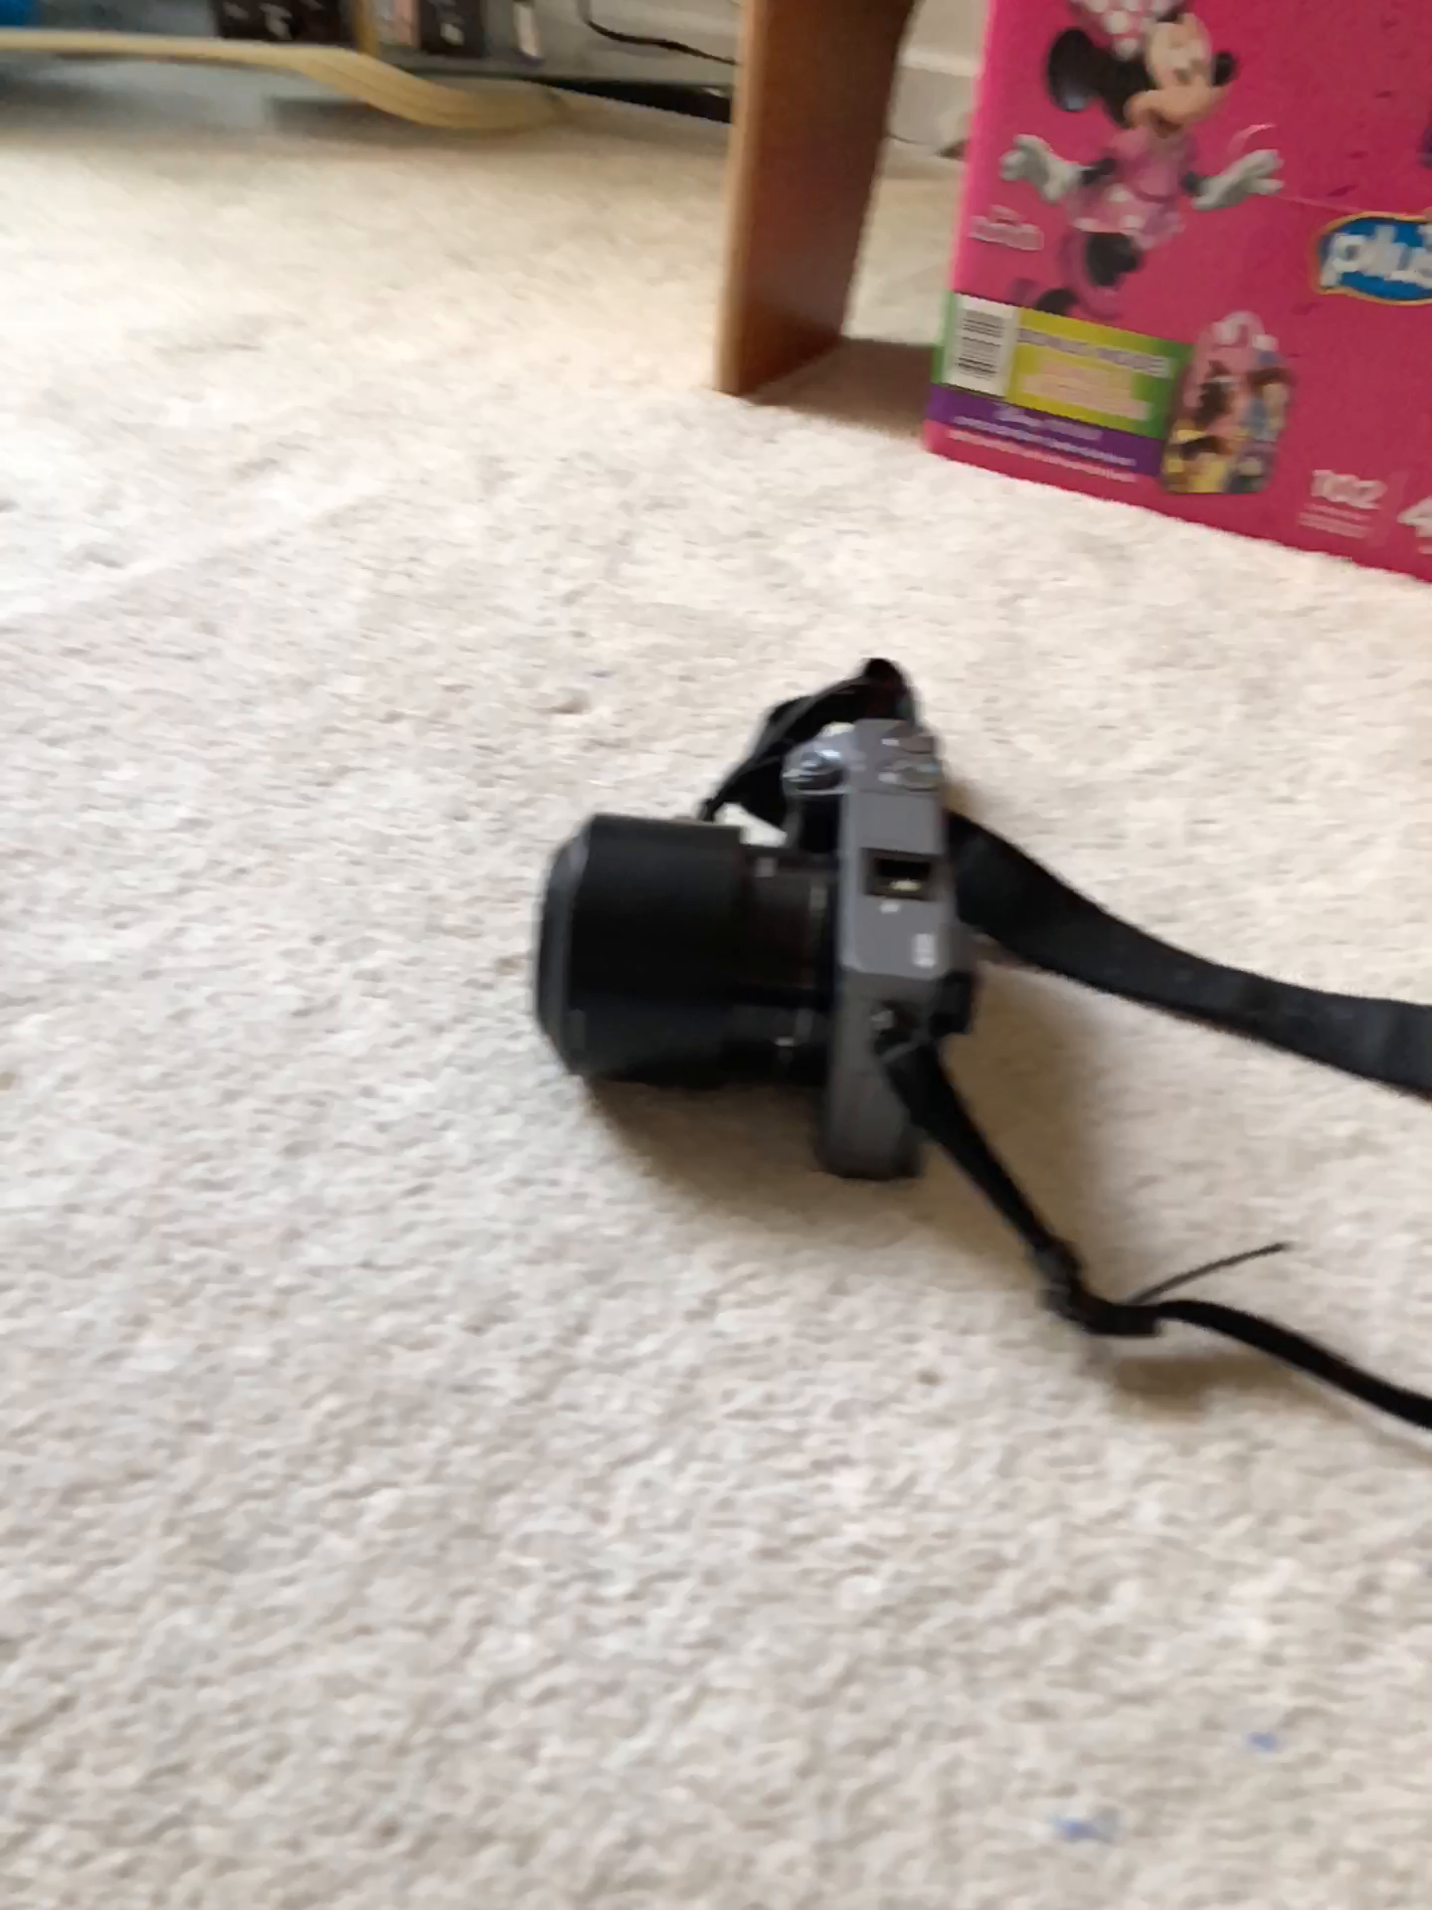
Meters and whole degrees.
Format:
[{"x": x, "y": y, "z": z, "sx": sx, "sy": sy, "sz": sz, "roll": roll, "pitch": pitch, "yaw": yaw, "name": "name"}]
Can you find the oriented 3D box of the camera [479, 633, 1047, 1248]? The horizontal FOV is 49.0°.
[{"x": 0.010, "y": -0.011, "z": 0.380, "sx": 0.110, "sy": 0.070, "sz": 0.141, "roll": 5, "pitch": 36, "yaw": 0, "name": "camera"}]
